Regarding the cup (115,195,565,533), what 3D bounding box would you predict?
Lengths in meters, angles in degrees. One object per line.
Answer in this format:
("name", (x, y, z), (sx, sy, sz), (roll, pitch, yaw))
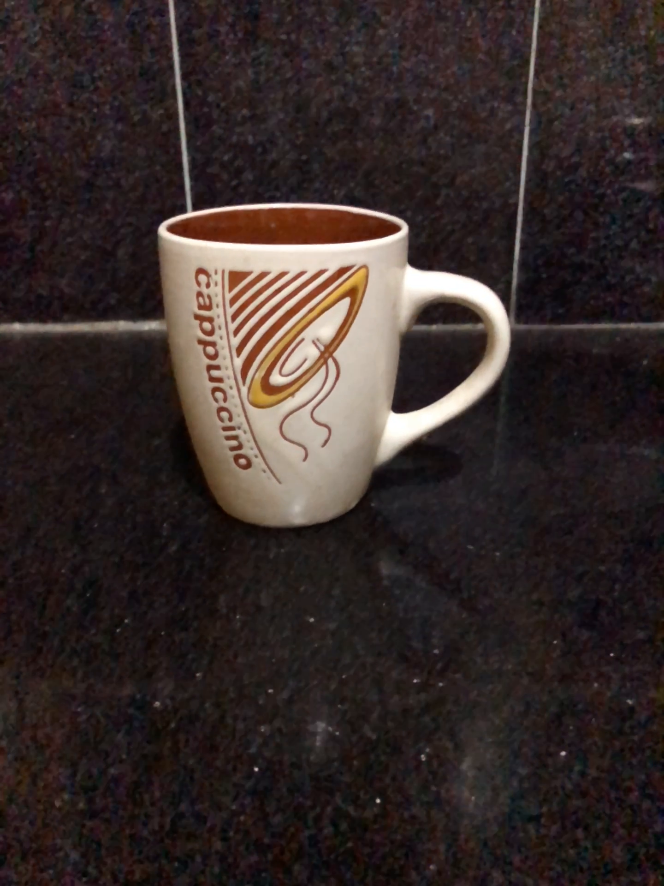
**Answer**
("cup", (0.002, -0.033, 0.257), (0.120, 0.089, 0.091), (-1, 26, -1))
